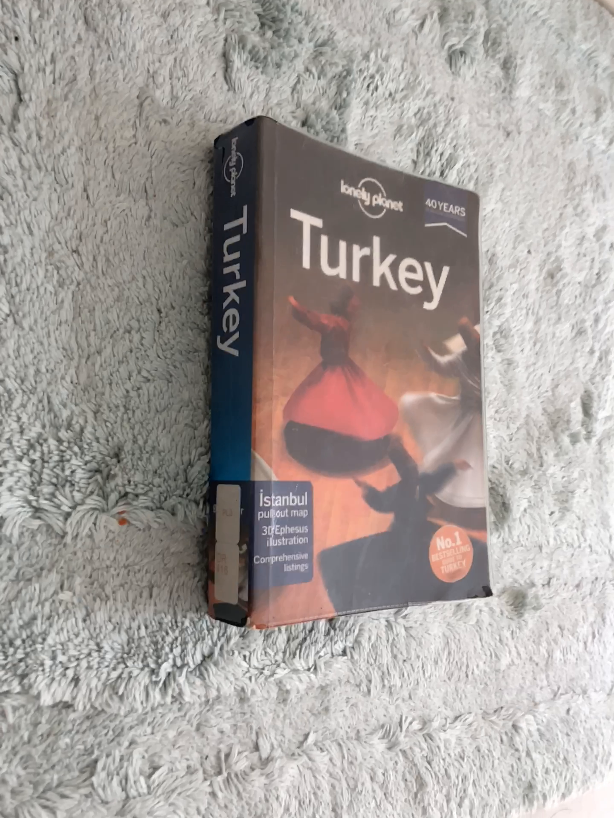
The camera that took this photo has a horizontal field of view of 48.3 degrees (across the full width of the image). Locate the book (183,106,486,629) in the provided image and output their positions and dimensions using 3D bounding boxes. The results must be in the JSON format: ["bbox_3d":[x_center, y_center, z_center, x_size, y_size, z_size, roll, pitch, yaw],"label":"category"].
[{"bbox_3d":[0.019,-0.012,0.303,0.131,0.046,0.190,5,84,-36],"label":"book"}]
